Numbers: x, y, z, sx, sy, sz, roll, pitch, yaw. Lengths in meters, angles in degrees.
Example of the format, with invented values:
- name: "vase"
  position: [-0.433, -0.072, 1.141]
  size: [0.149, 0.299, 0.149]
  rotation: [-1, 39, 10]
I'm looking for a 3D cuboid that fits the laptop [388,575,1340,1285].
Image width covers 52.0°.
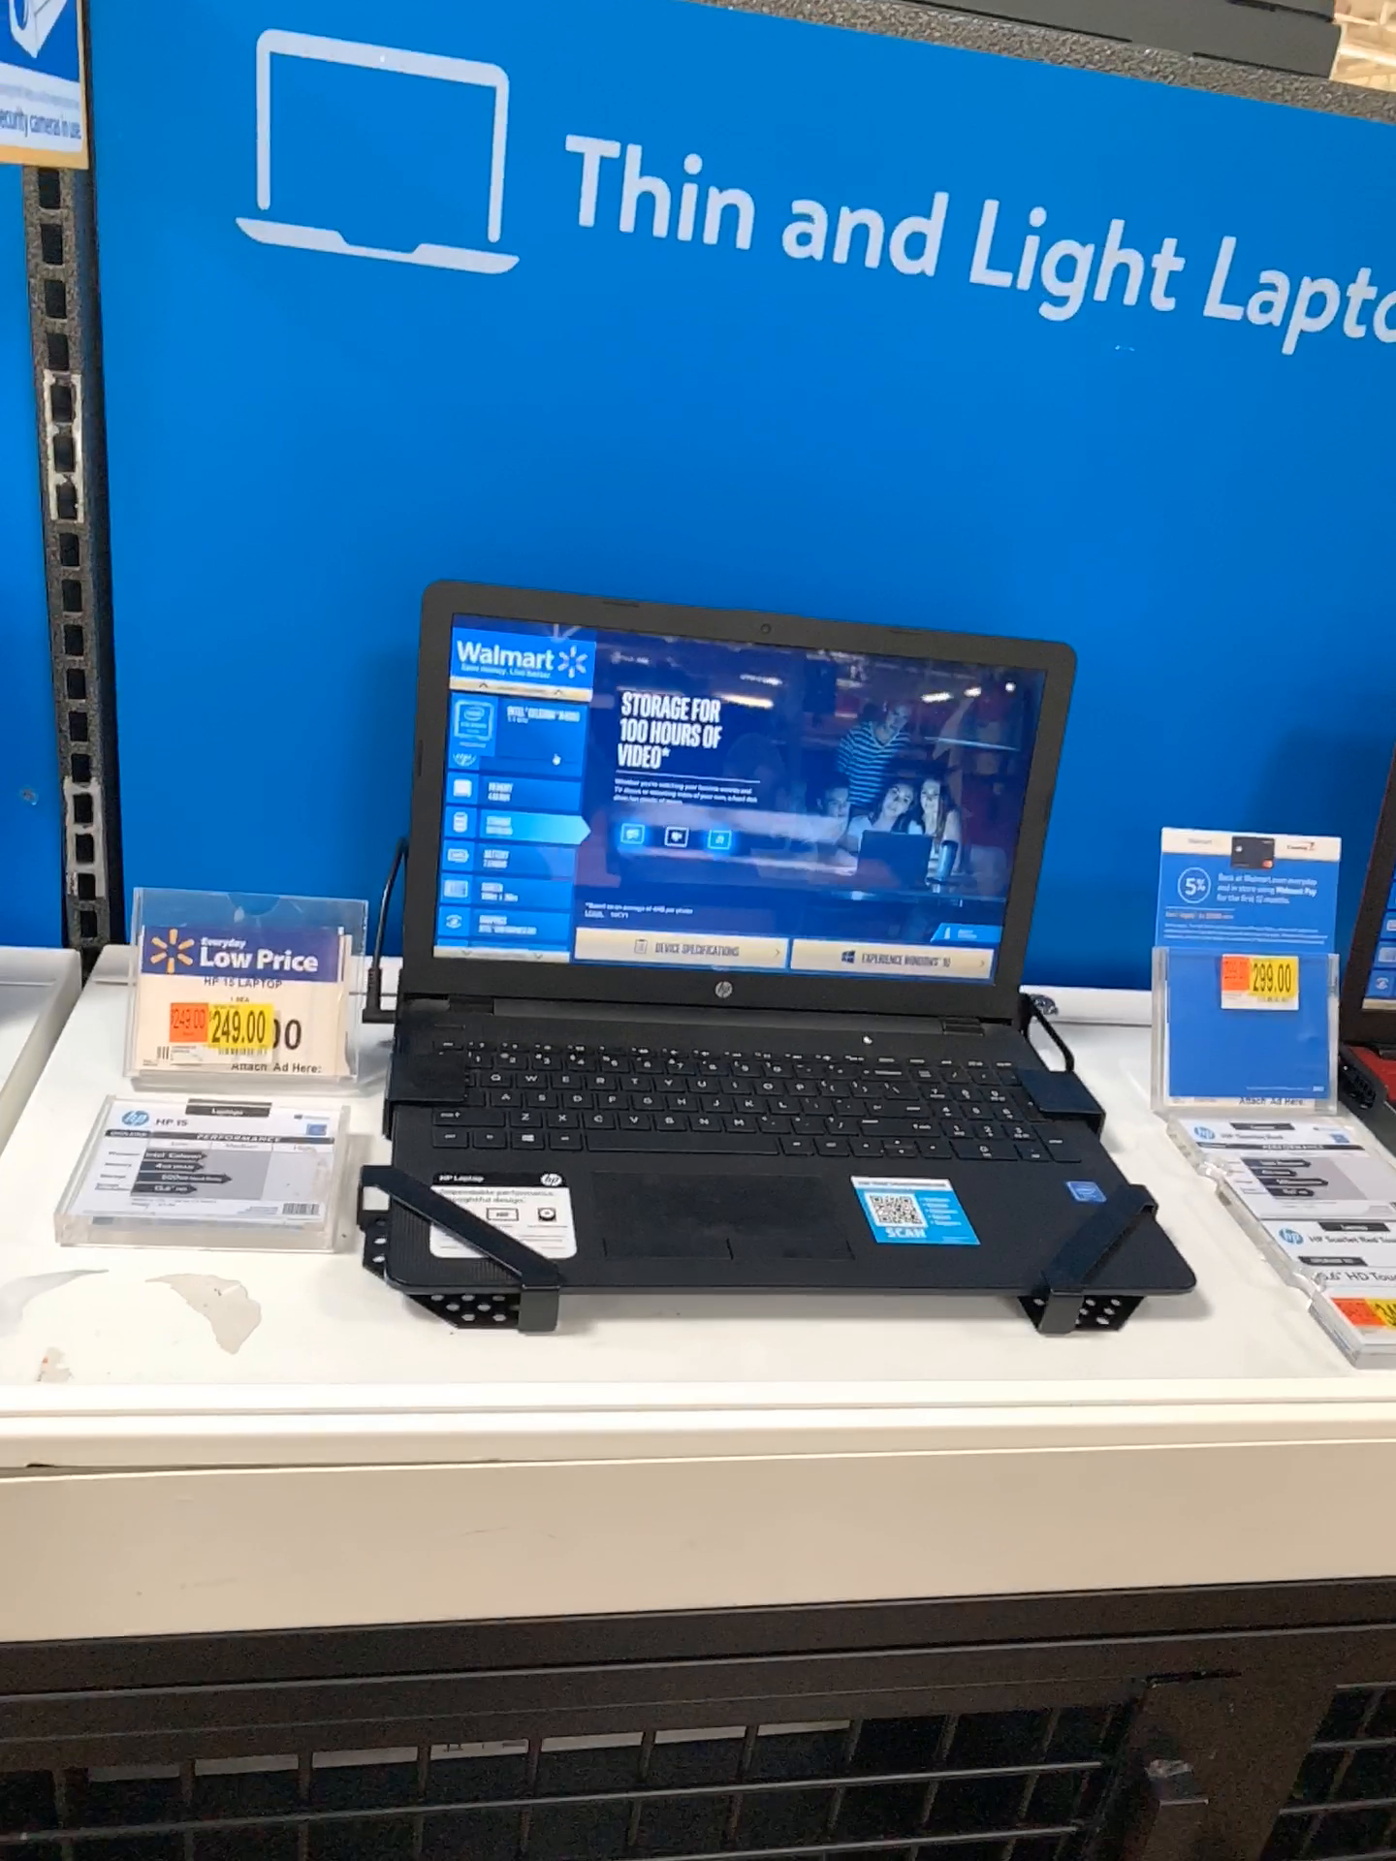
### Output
- name: "laptop"
  position: [0.040, -0.011, 0.705]
  size: [0.363, 0.225, 0.287]
  rotation: [3, 26, -12]
